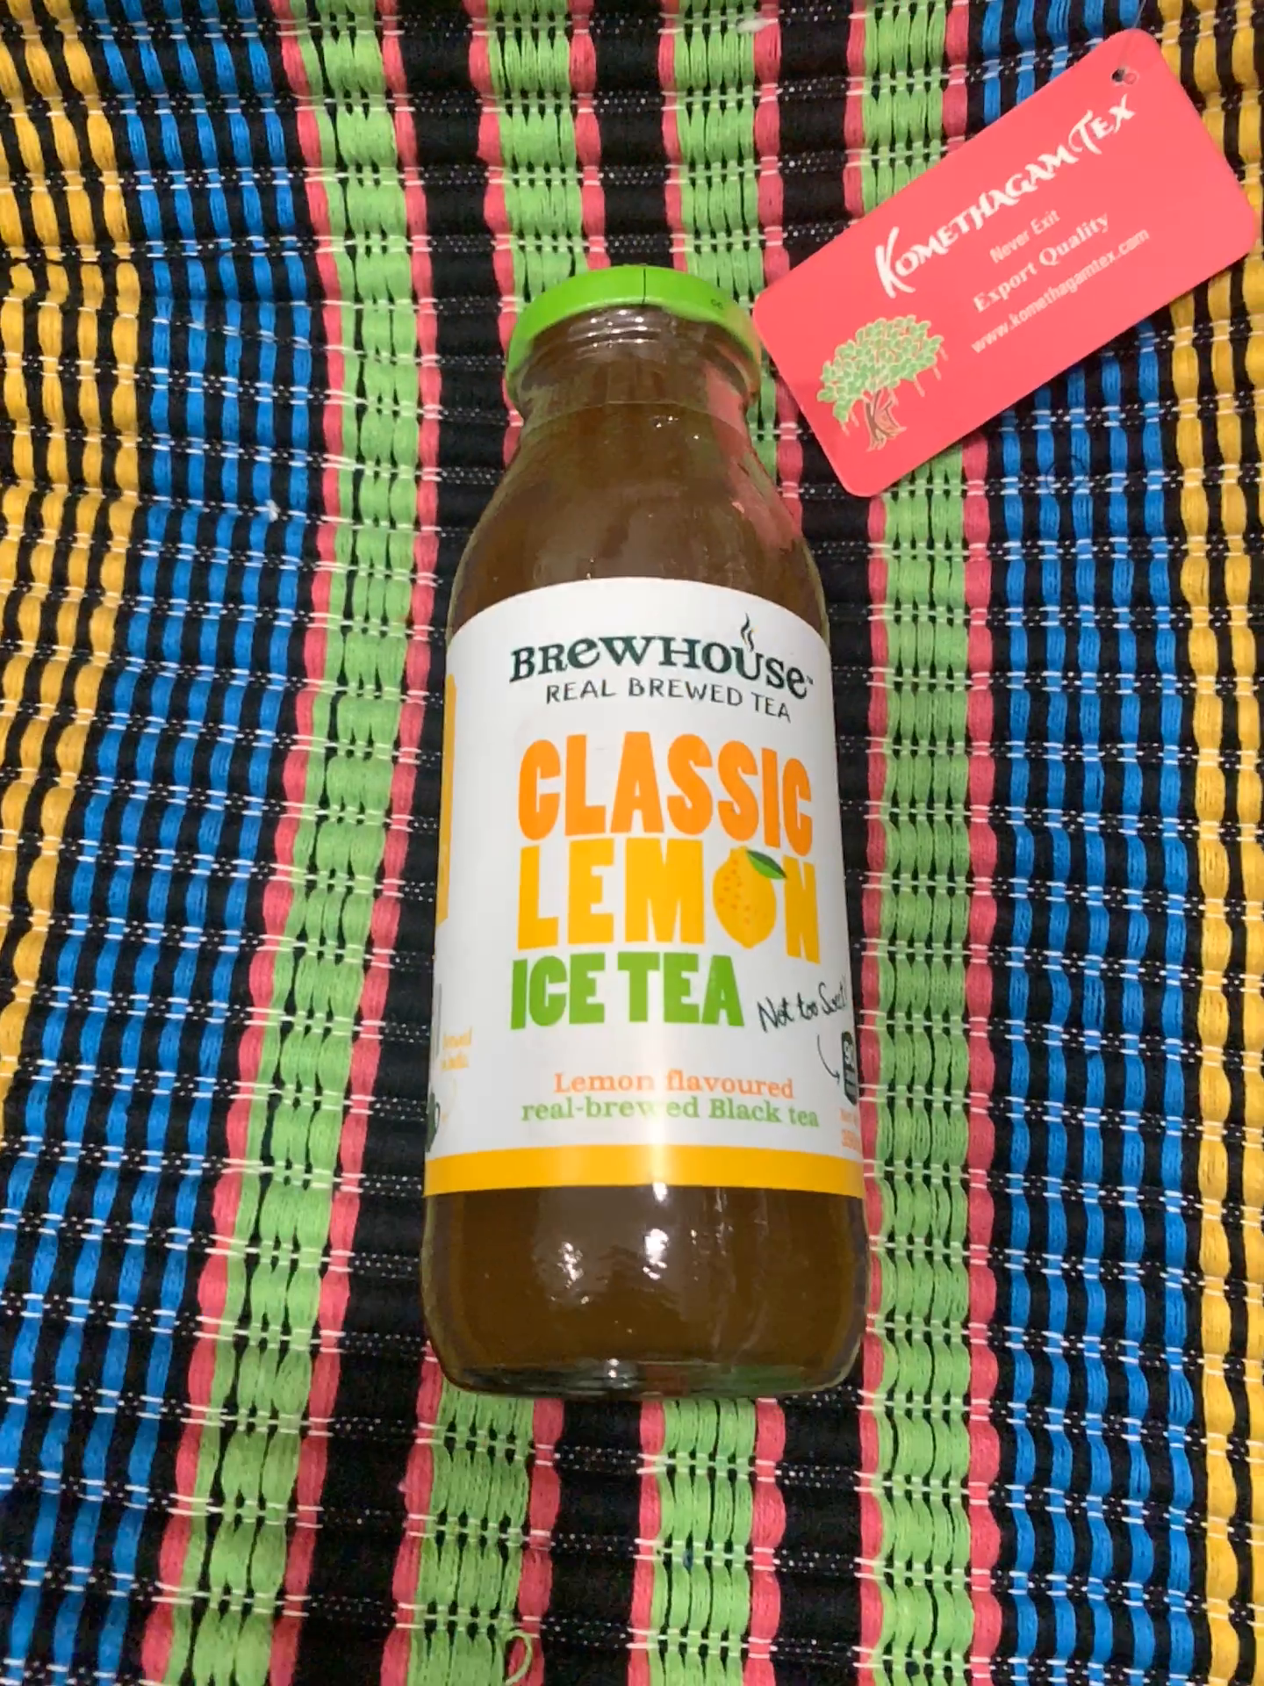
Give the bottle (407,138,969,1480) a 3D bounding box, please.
[{"bbox_3d":[0.002,-0.011,0.192,0.060,0.050,0.180,1,71,-7],"label":"bottle"}]
